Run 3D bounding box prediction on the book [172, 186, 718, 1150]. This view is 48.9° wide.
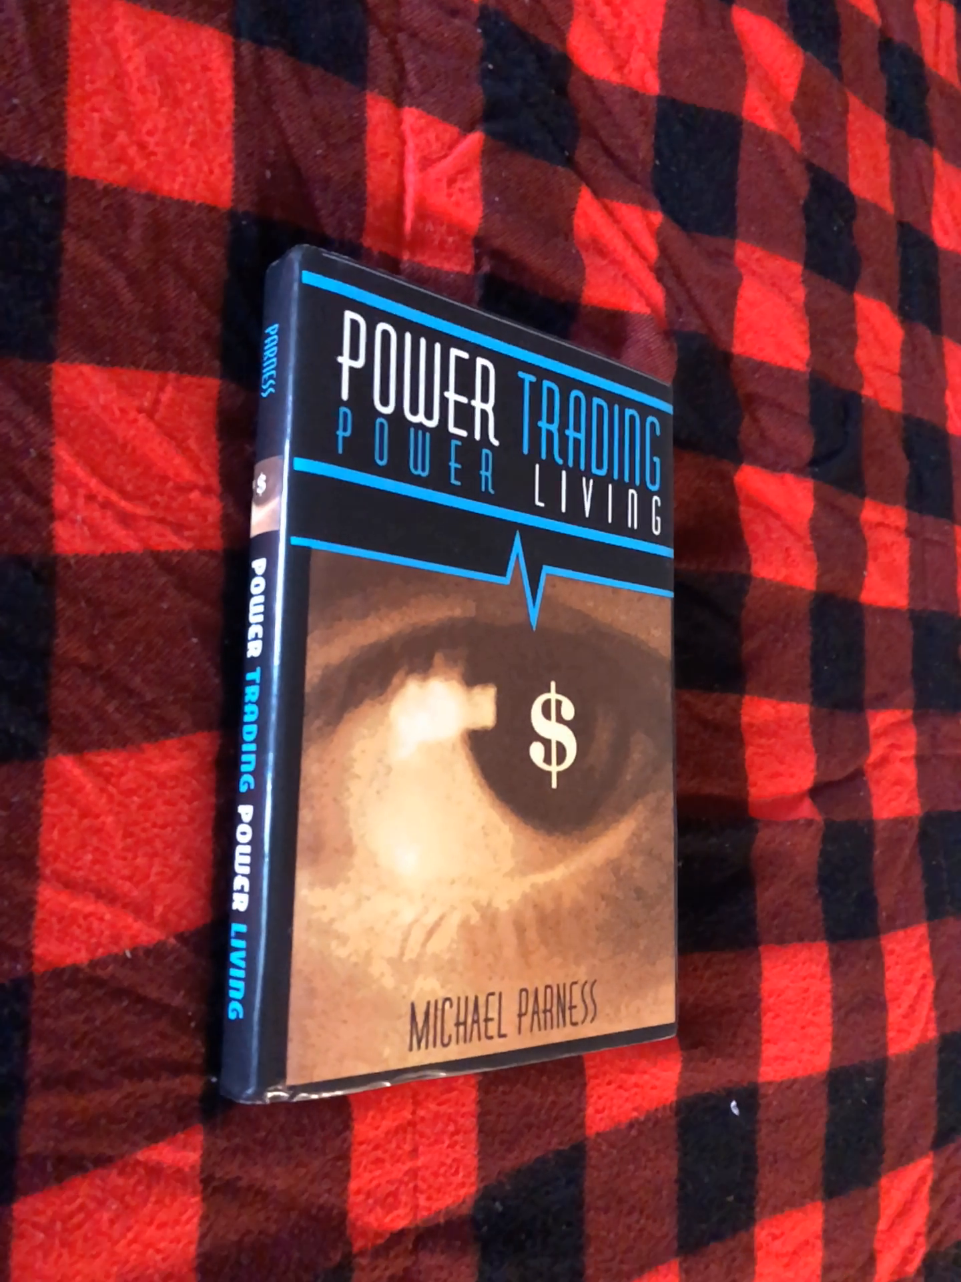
[{"bbox_3d":[0.003,0.011,0.331,0.171,0.040,0.240,9,80,-39],"label":"book"}]
